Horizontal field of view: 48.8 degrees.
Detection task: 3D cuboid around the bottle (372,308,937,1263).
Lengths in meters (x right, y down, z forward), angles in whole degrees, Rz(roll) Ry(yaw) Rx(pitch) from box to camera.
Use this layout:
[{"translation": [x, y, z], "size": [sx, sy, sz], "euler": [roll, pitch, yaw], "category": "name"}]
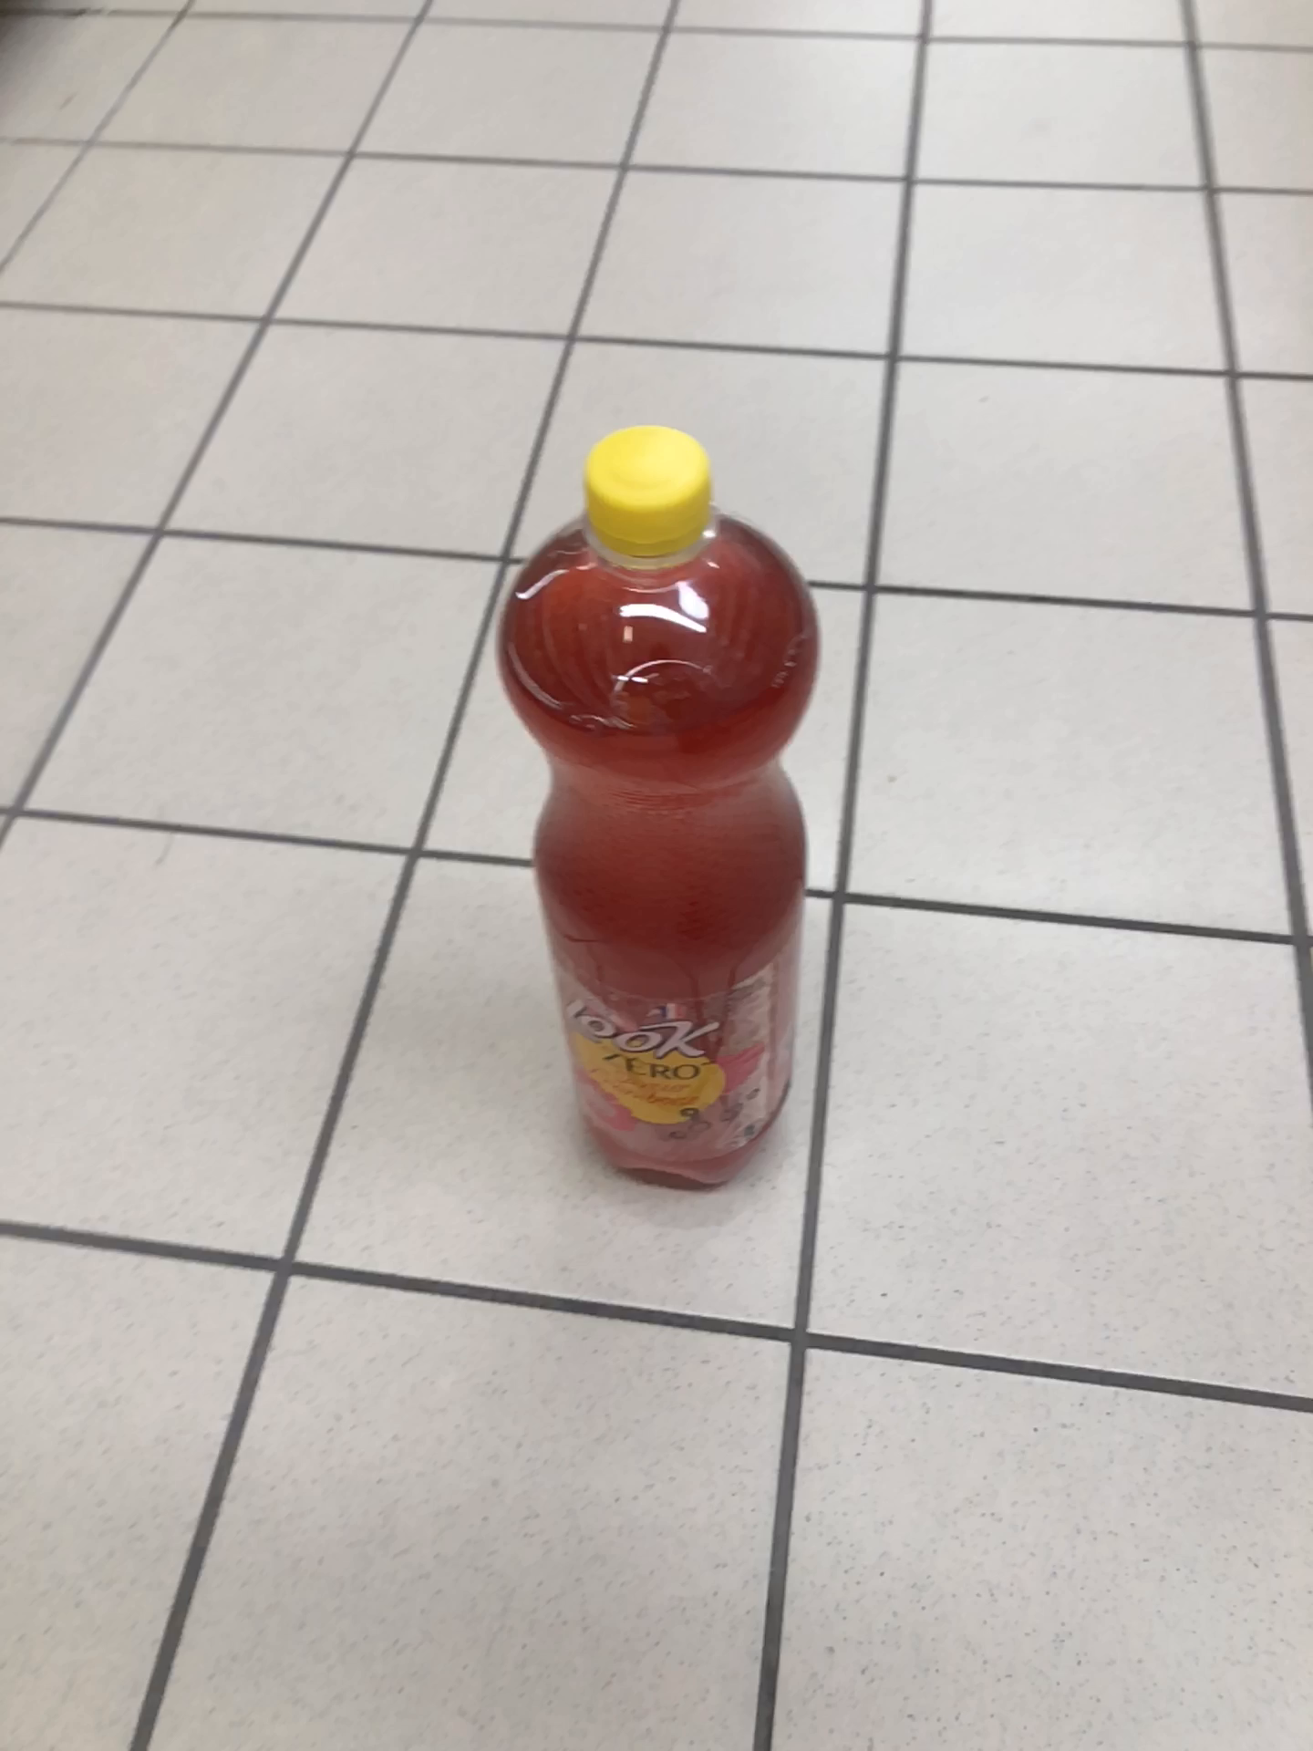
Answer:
[{"translation": [0.009, 0.003, 0.459], "size": [0.100, 0.328, 0.091], "euler": [18, 57, 15], "category": "bottle"}]
